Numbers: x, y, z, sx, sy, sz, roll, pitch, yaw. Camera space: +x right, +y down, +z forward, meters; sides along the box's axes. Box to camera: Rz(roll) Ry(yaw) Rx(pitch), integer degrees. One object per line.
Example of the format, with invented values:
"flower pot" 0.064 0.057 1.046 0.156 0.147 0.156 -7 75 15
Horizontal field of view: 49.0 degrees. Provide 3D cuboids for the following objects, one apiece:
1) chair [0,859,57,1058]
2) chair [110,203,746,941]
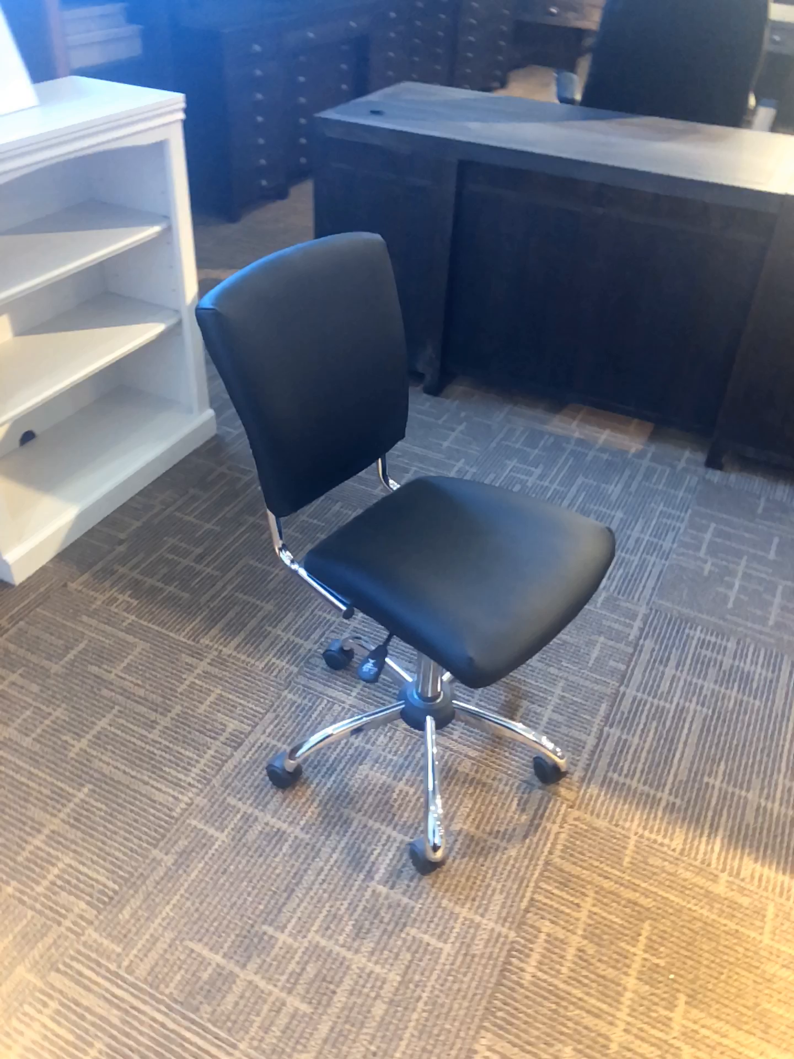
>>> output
"chair" -0.704 0.784 0.448 0.583 0.916 0.610 14 39 14
"chair" 0.039 0.035 1.384 0.608 0.826 0.575 27 43 28
